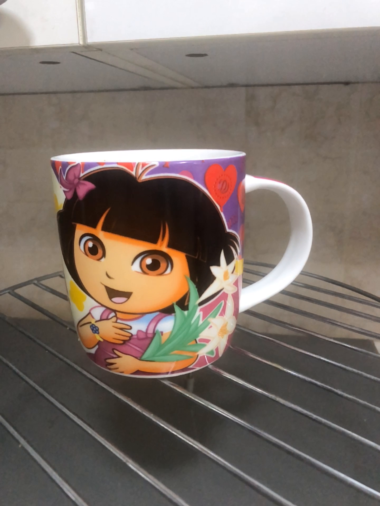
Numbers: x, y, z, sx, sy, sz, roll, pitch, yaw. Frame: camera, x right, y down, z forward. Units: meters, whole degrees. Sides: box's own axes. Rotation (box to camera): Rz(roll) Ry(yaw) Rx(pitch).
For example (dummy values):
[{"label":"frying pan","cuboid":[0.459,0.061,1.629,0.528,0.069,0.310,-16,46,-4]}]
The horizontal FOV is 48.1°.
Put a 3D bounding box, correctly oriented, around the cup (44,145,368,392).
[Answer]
[{"label":"cup","cuboid":[0.003,-0.002,0.198,0.120,0.090,0.070,-4,16,-11]}]
